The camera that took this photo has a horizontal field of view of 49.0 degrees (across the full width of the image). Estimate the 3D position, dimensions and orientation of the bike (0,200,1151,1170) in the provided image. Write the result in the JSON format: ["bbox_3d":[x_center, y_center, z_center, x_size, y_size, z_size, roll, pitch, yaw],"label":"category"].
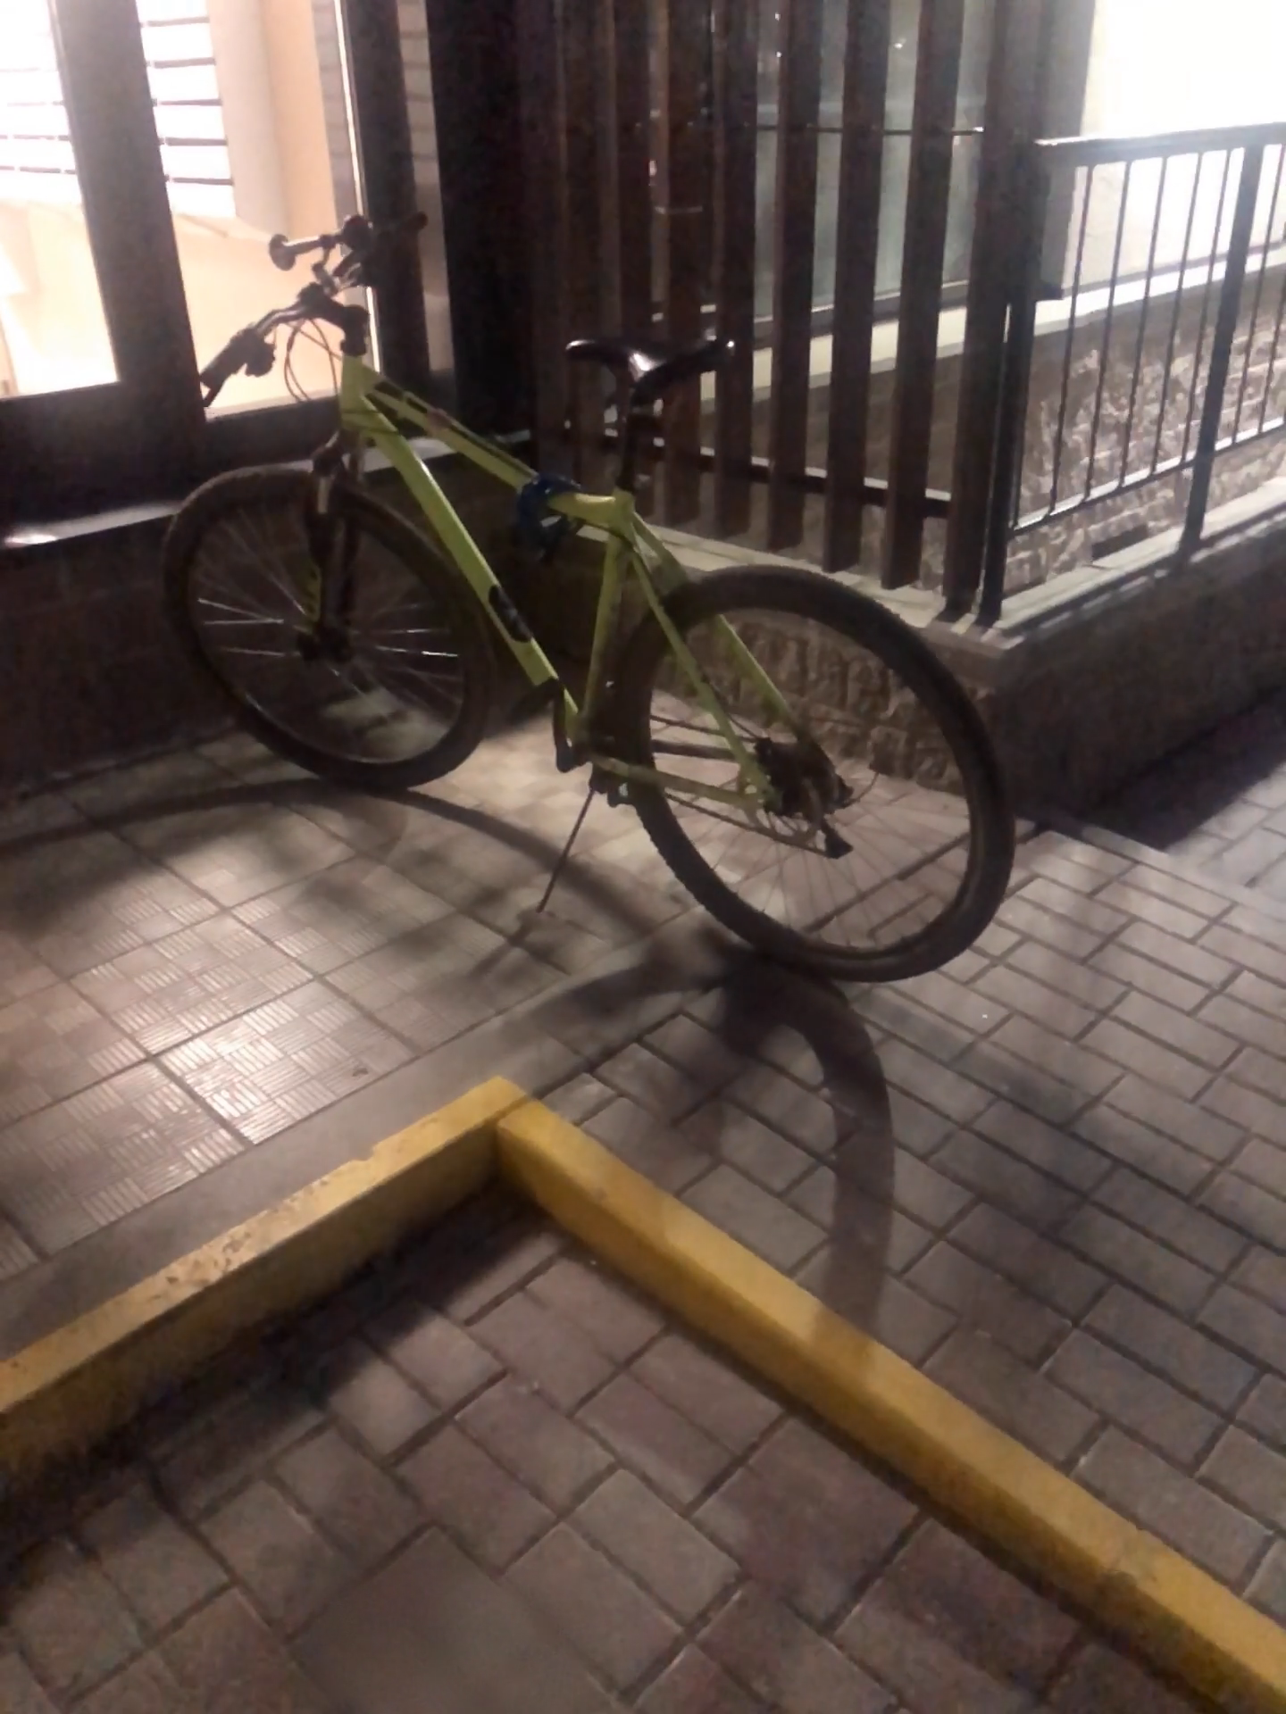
[{"bbox_3d":[-0.260,-0.431,2.327,1.763,1.095,0.722,17,33,30],"label":"bike"}]
